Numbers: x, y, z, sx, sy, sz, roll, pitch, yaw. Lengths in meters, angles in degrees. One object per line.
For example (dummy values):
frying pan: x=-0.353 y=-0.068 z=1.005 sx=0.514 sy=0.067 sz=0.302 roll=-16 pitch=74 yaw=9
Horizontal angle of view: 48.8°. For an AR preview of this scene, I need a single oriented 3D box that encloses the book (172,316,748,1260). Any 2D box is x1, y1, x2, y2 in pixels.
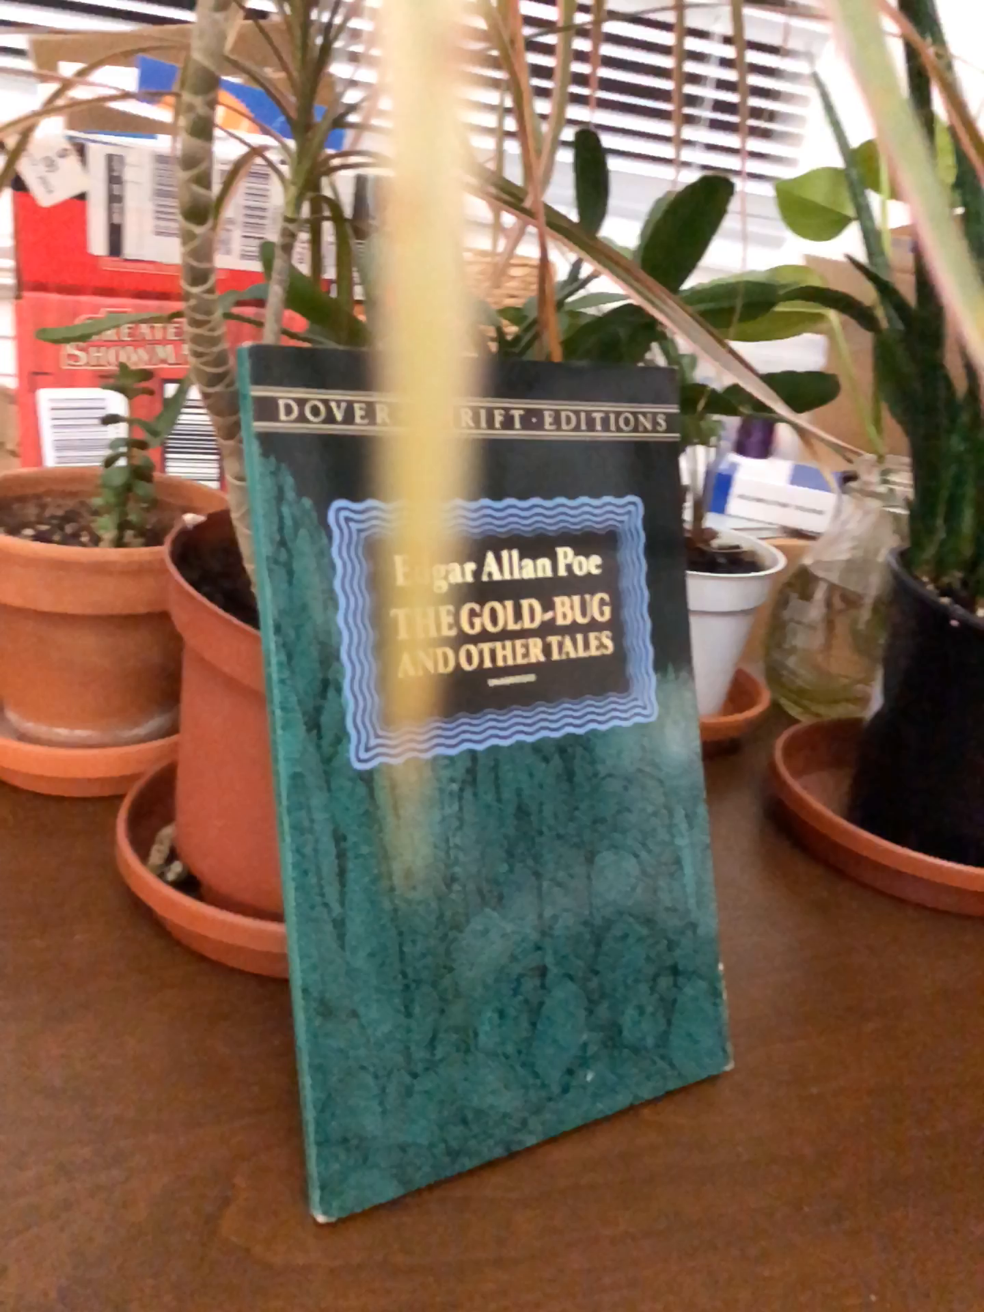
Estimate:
book: x=-0.001 y=0.024 z=0.284 sx=0.140 sy=0.210 sz=0.020 roll=-6 pitch=1 yaw=-31
